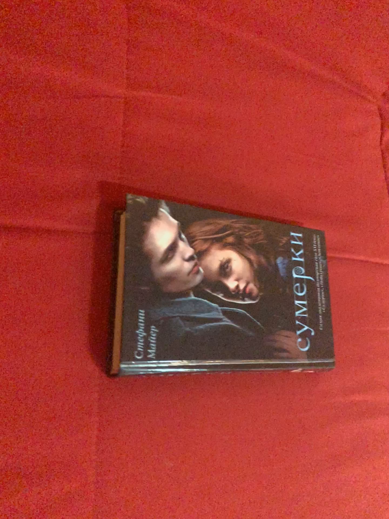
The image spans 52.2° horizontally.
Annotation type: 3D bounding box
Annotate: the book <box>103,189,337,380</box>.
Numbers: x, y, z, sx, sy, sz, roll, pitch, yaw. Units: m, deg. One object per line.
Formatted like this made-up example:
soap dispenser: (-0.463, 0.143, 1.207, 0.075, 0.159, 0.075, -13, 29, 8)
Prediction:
book: (0.033, 0.028, 0.343, 0.209, 0.036, 0.134, 7, 78, -29)
